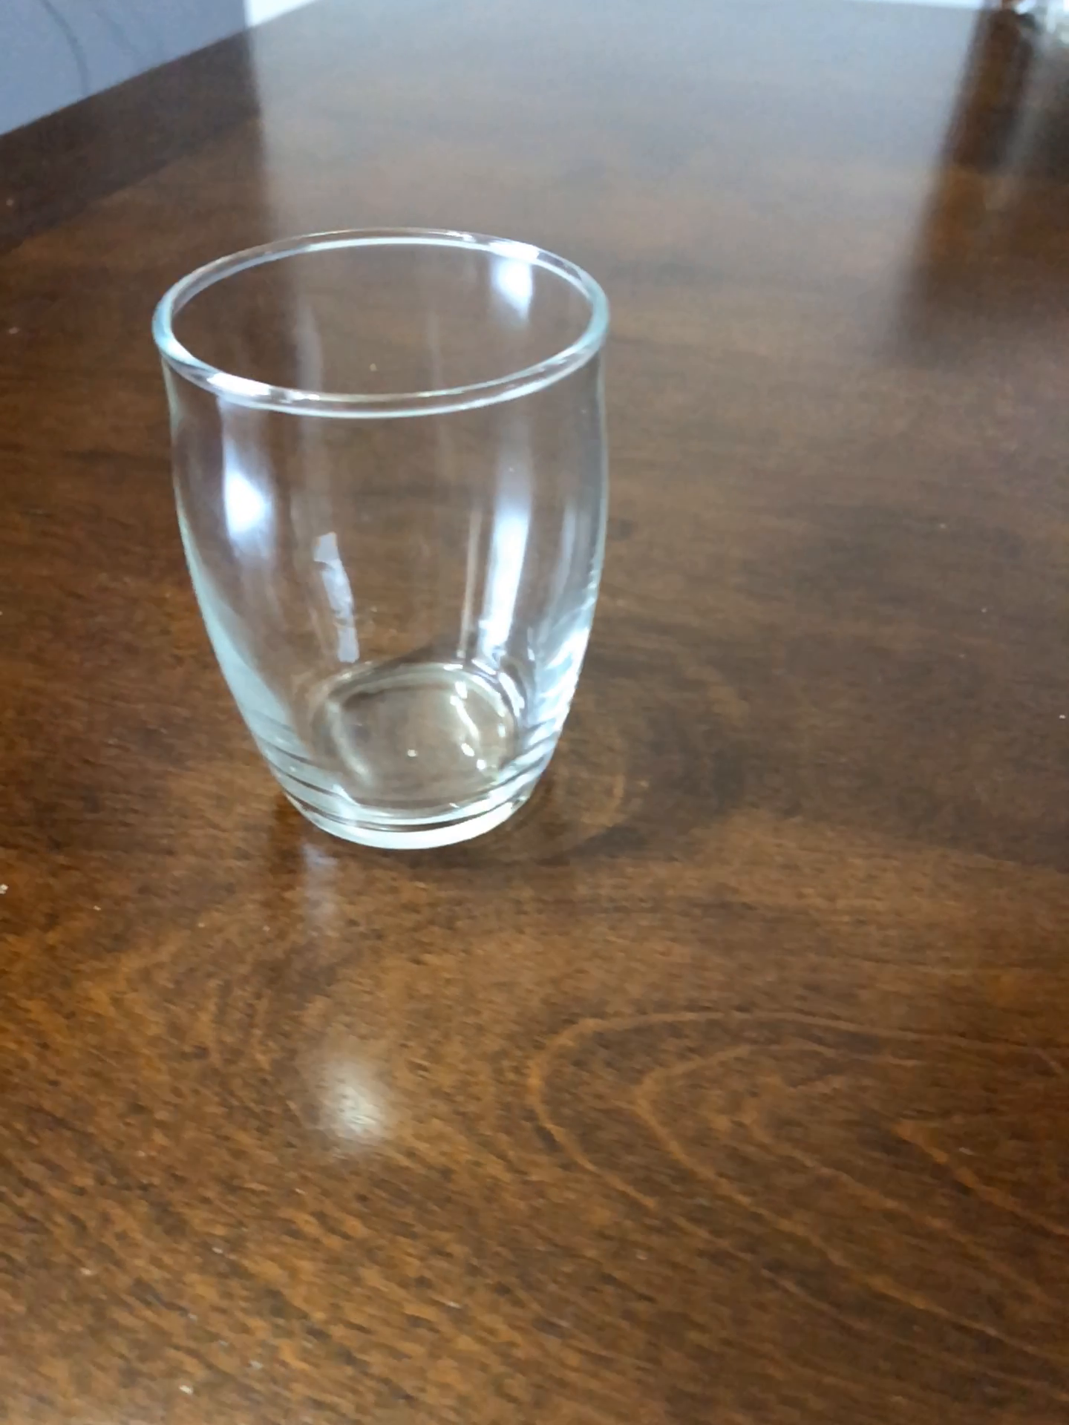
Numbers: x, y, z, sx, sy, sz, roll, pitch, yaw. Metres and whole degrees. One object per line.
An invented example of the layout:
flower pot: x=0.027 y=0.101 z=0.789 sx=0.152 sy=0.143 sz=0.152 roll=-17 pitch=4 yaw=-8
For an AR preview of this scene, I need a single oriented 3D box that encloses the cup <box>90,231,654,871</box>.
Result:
cup: x=-0.019 y=-0.024 z=0.174 sx=0.060 sy=0.070 sz=0.060 roll=1 pitch=40 yaw=-1
